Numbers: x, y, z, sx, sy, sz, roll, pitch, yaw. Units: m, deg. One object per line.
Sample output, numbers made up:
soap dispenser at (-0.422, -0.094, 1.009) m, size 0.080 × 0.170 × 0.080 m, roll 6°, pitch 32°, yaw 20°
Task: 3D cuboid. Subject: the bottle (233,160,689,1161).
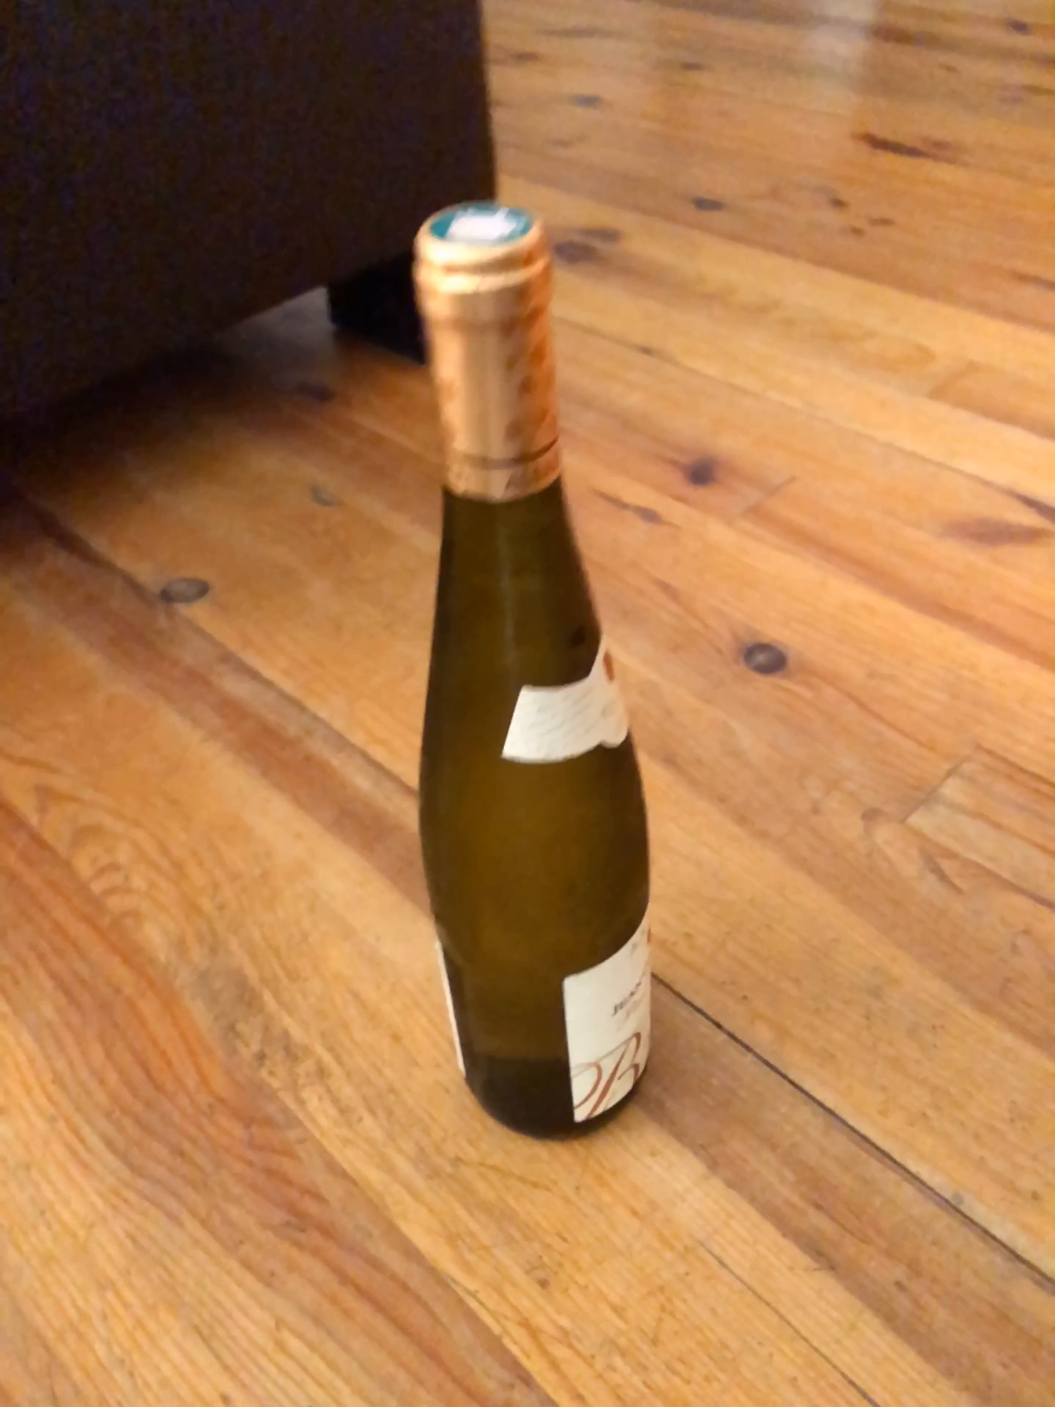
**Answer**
bottle at (0.001, 0.018, 0.350) m, size 0.080 × 0.318 × 0.081 m, roll -3°, pitch 42°, yaw 2°
